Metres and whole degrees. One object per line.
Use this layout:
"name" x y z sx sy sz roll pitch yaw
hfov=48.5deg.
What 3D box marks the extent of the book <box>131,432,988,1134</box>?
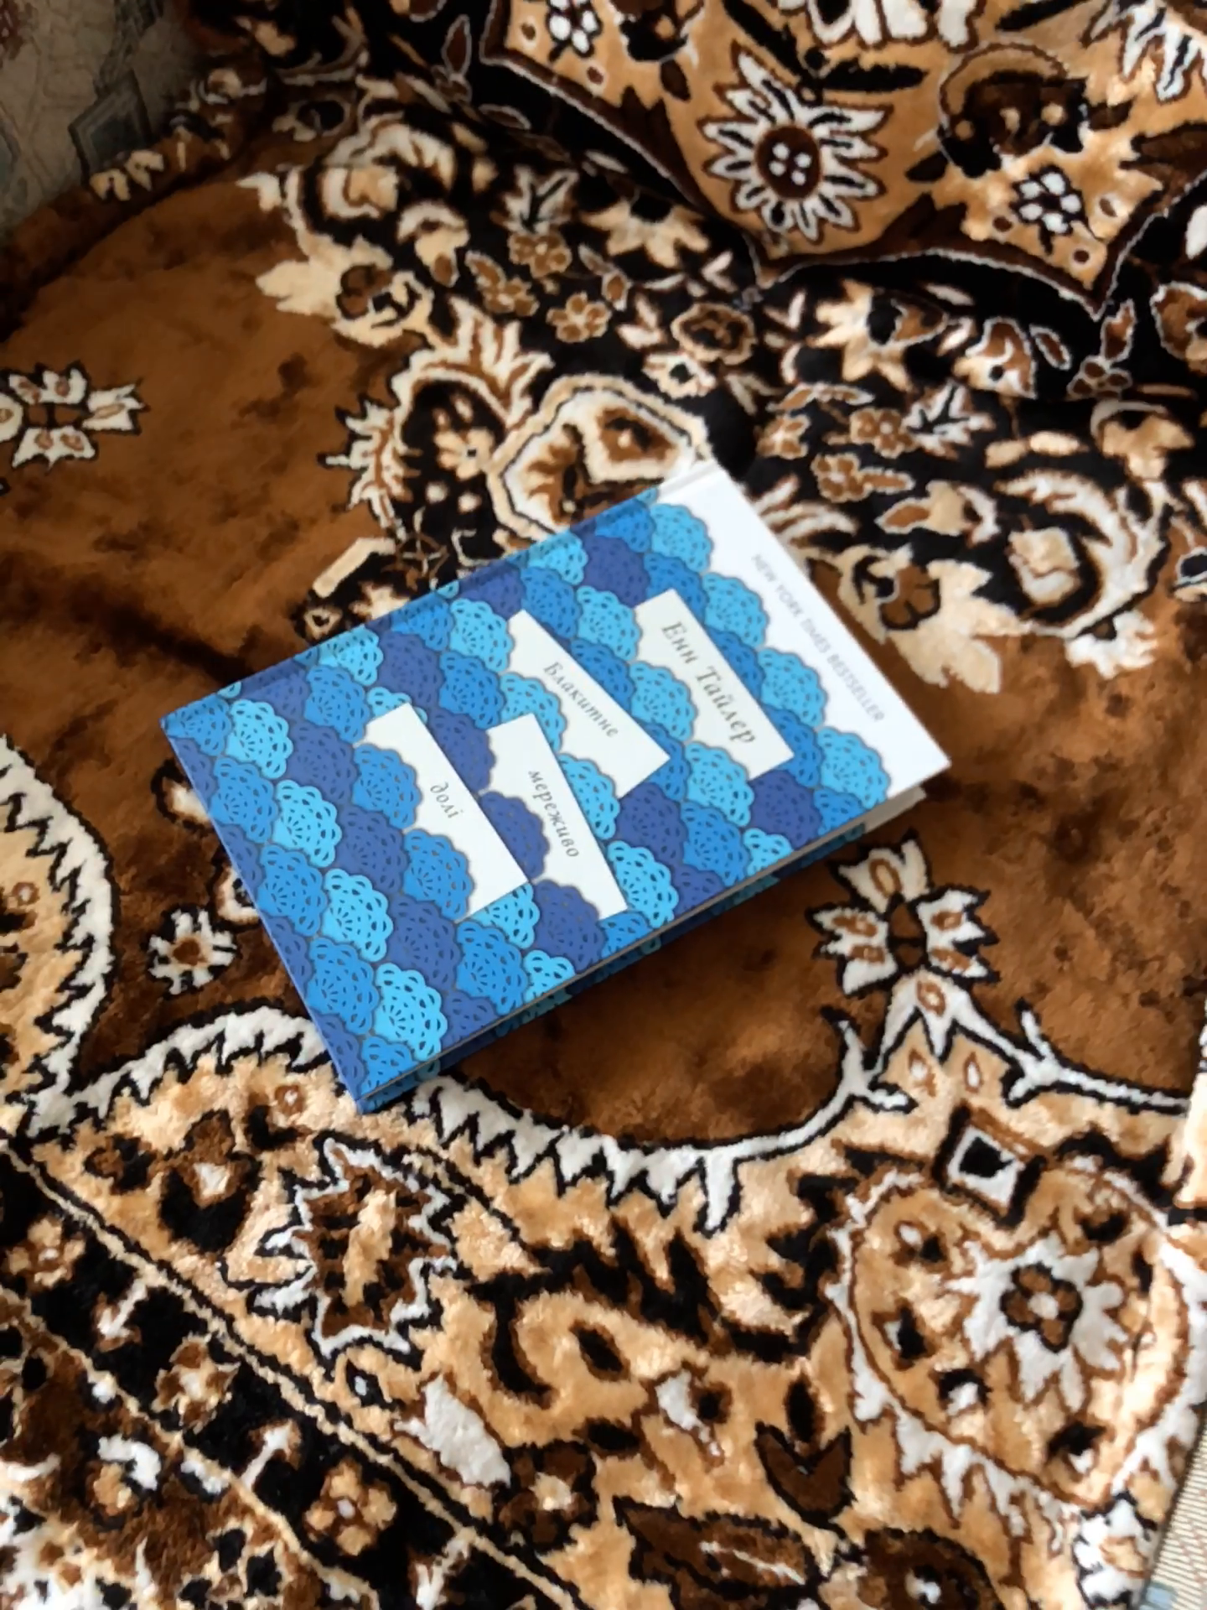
"book" -0.014 -0.019 0.449 0.233 0.030 0.155 -27 69 -16
